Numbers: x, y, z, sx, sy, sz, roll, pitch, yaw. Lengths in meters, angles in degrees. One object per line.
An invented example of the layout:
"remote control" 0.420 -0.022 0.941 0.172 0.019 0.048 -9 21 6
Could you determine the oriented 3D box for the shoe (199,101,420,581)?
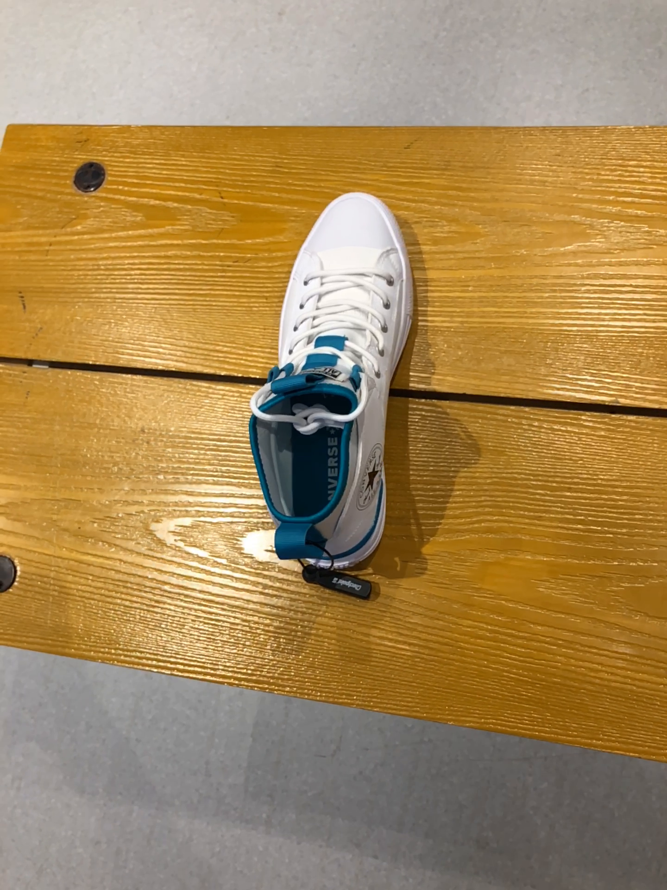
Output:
"shoe" -0.003 -0.058 0.522 0.108 0.158 0.293 0 78 12
